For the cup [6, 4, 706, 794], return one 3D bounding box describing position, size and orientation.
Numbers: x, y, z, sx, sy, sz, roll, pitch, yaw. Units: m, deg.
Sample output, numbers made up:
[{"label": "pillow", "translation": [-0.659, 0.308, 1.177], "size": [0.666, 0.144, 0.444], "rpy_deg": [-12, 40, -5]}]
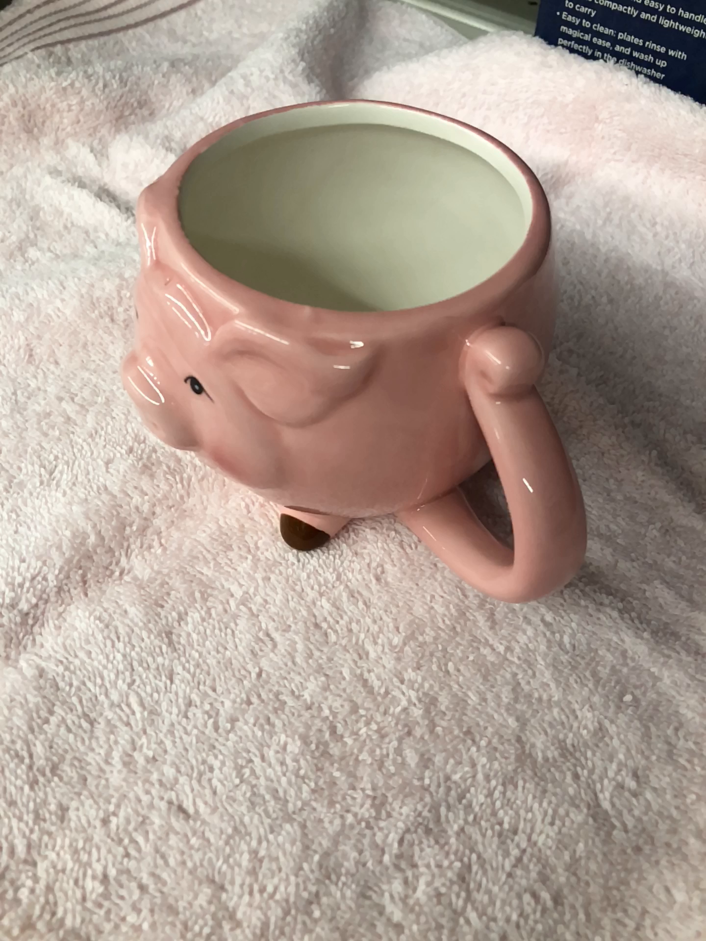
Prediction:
[{"label": "cup", "translation": [0.001, -0.026, 0.194], "size": [0.100, 0.090, 0.151], "rpy_deg": [-26, 58, -17]}]
